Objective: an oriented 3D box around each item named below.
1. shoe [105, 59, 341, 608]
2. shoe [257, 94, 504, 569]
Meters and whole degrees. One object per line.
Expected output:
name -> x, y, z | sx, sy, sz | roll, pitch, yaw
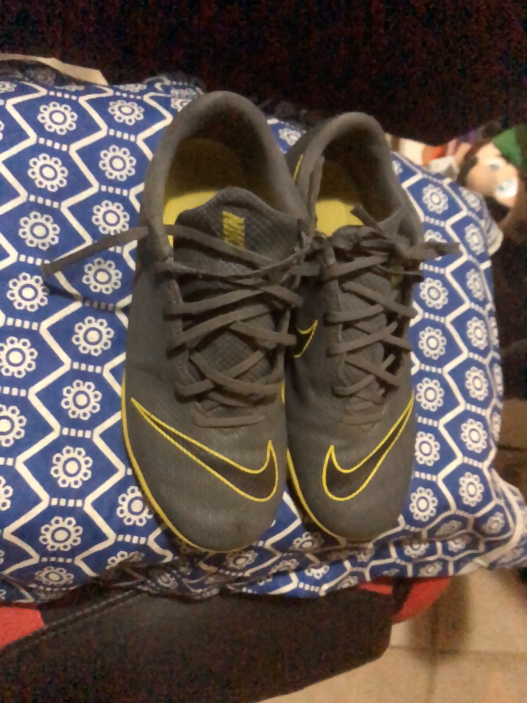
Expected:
shoe -> -0.030, -0.009, 0.311 | 0.090, 0.090, 0.240 | -1, 82, -20
shoe -> 0.061, -0.011, 0.351 | 0.090, 0.090, 0.240 | -1, 82, -20
